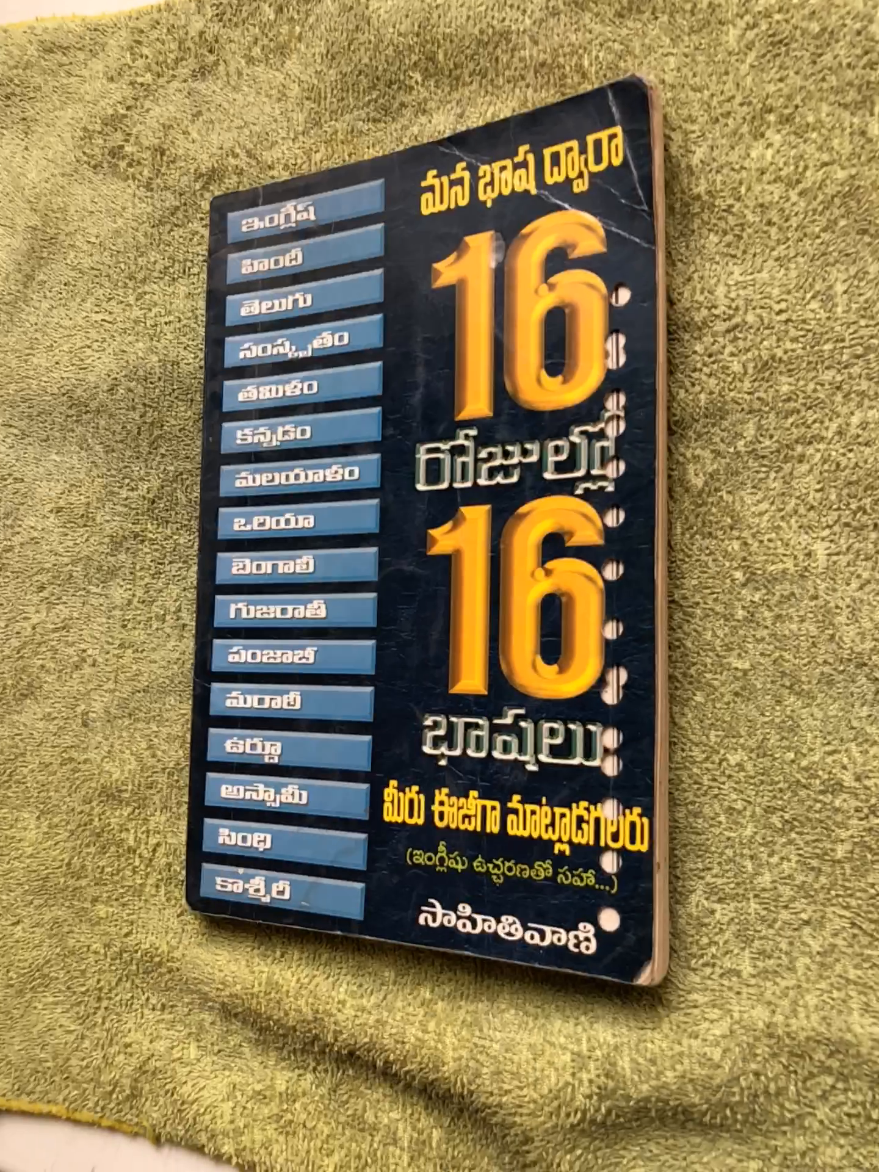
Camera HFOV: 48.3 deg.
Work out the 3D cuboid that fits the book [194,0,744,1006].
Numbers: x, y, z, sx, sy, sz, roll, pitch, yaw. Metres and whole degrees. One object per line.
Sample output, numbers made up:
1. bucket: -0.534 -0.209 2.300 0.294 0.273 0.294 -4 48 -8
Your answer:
1. book: 0.004 -0.021 0.257 0.140 0.030 0.220 -1 84 29
